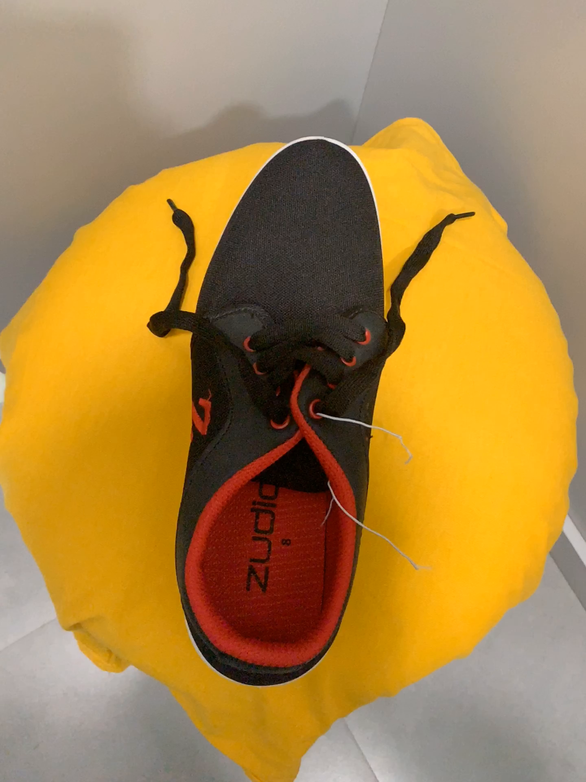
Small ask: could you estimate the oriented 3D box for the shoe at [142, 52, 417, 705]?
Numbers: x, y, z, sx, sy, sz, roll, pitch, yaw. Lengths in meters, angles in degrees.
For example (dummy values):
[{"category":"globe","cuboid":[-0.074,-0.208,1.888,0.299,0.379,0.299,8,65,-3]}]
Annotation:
[{"category":"shoe","cuboid":[-0.002,-0.009,0.299,0.090,0.100,0.270,6,78,-3]}]
